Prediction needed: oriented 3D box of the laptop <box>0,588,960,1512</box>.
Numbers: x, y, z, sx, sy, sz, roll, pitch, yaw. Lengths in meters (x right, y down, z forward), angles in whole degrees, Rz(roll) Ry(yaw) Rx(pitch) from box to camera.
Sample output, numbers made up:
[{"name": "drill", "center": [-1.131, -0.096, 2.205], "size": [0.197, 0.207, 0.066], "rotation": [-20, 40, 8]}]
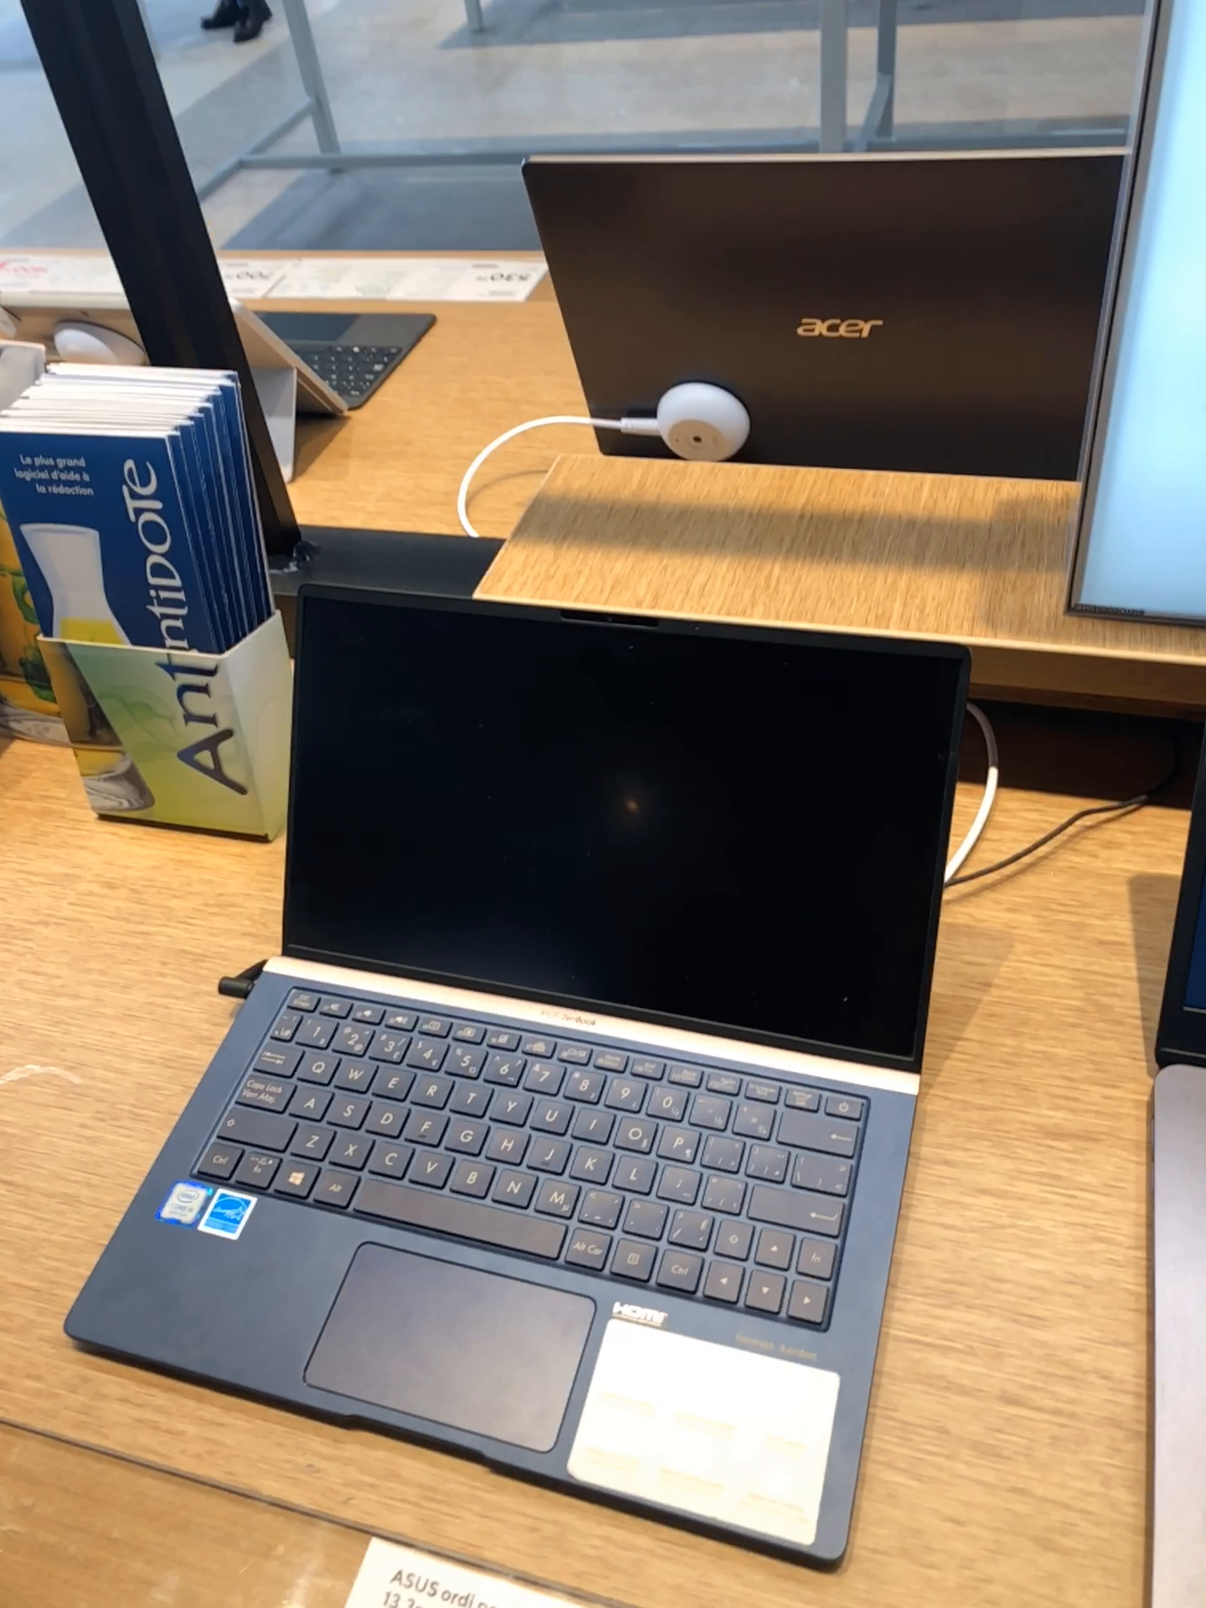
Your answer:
[{"name": "laptop", "center": [-0.032, 0.065, 0.507], "size": [0.276, 0.130, 0.277], "rotation": [8, 48, 18]}]
